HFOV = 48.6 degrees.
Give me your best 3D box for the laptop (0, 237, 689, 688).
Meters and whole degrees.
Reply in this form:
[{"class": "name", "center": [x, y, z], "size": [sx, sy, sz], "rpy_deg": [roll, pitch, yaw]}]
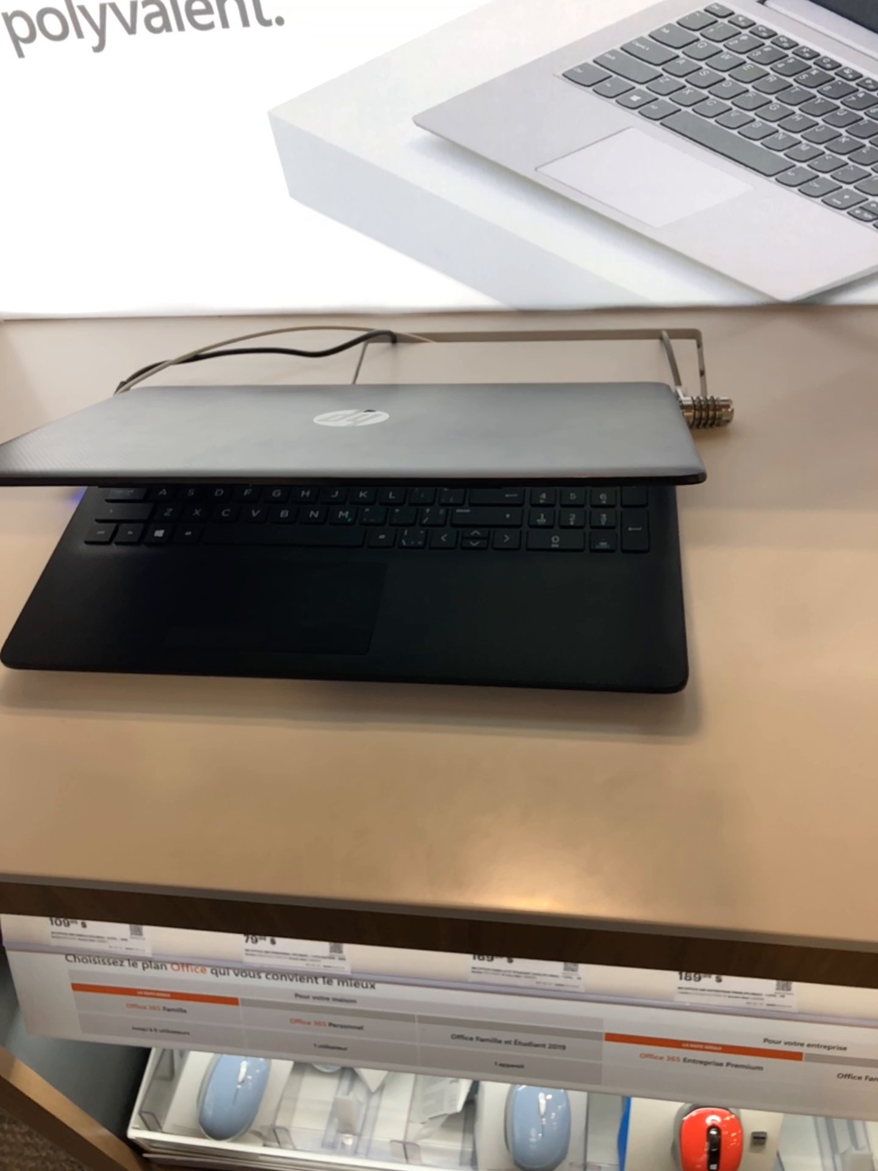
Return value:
[{"class": "laptop", "center": [-0.051, -0.079, 0.543], "size": [0.351, 0.107, 0.239], "rpy_deg": [2, 48, 10]}]
